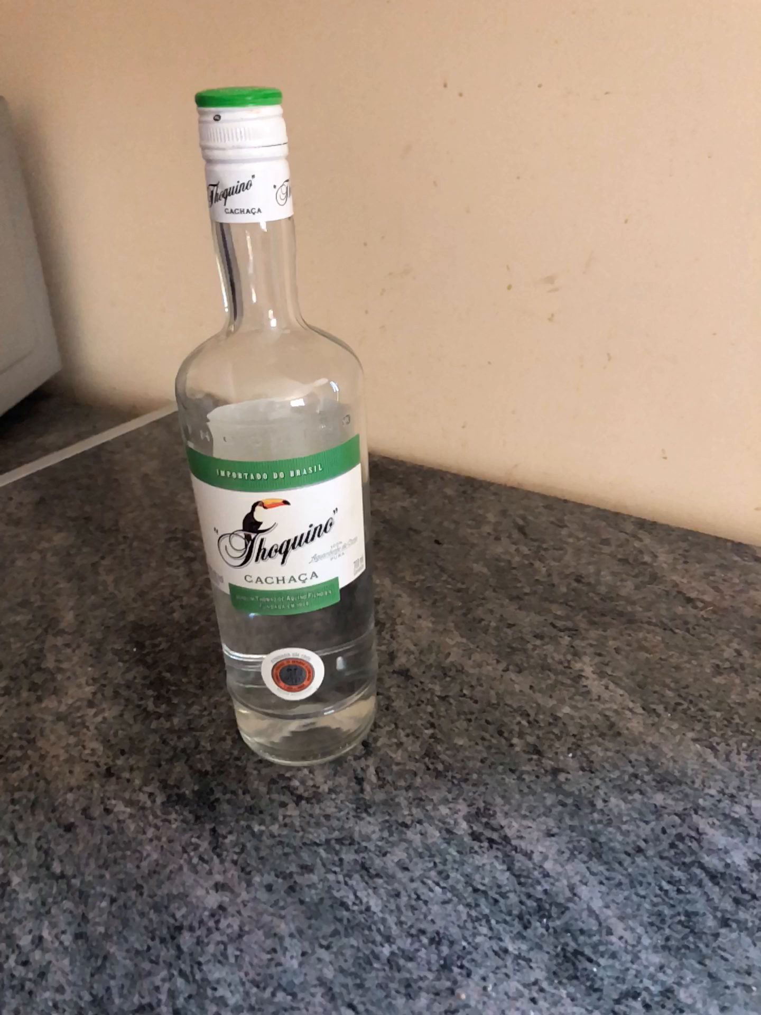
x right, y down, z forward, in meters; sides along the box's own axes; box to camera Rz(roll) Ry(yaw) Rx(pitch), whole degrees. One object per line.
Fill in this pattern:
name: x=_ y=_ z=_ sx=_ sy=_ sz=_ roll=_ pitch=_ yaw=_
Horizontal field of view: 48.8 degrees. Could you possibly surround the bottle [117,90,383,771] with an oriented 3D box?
bottle: x=-0.042 y=-0.024 z=0.362 sx=0.080 sy=0.278 sz=0.080 roll=-1 pitch=25 yaw=0
